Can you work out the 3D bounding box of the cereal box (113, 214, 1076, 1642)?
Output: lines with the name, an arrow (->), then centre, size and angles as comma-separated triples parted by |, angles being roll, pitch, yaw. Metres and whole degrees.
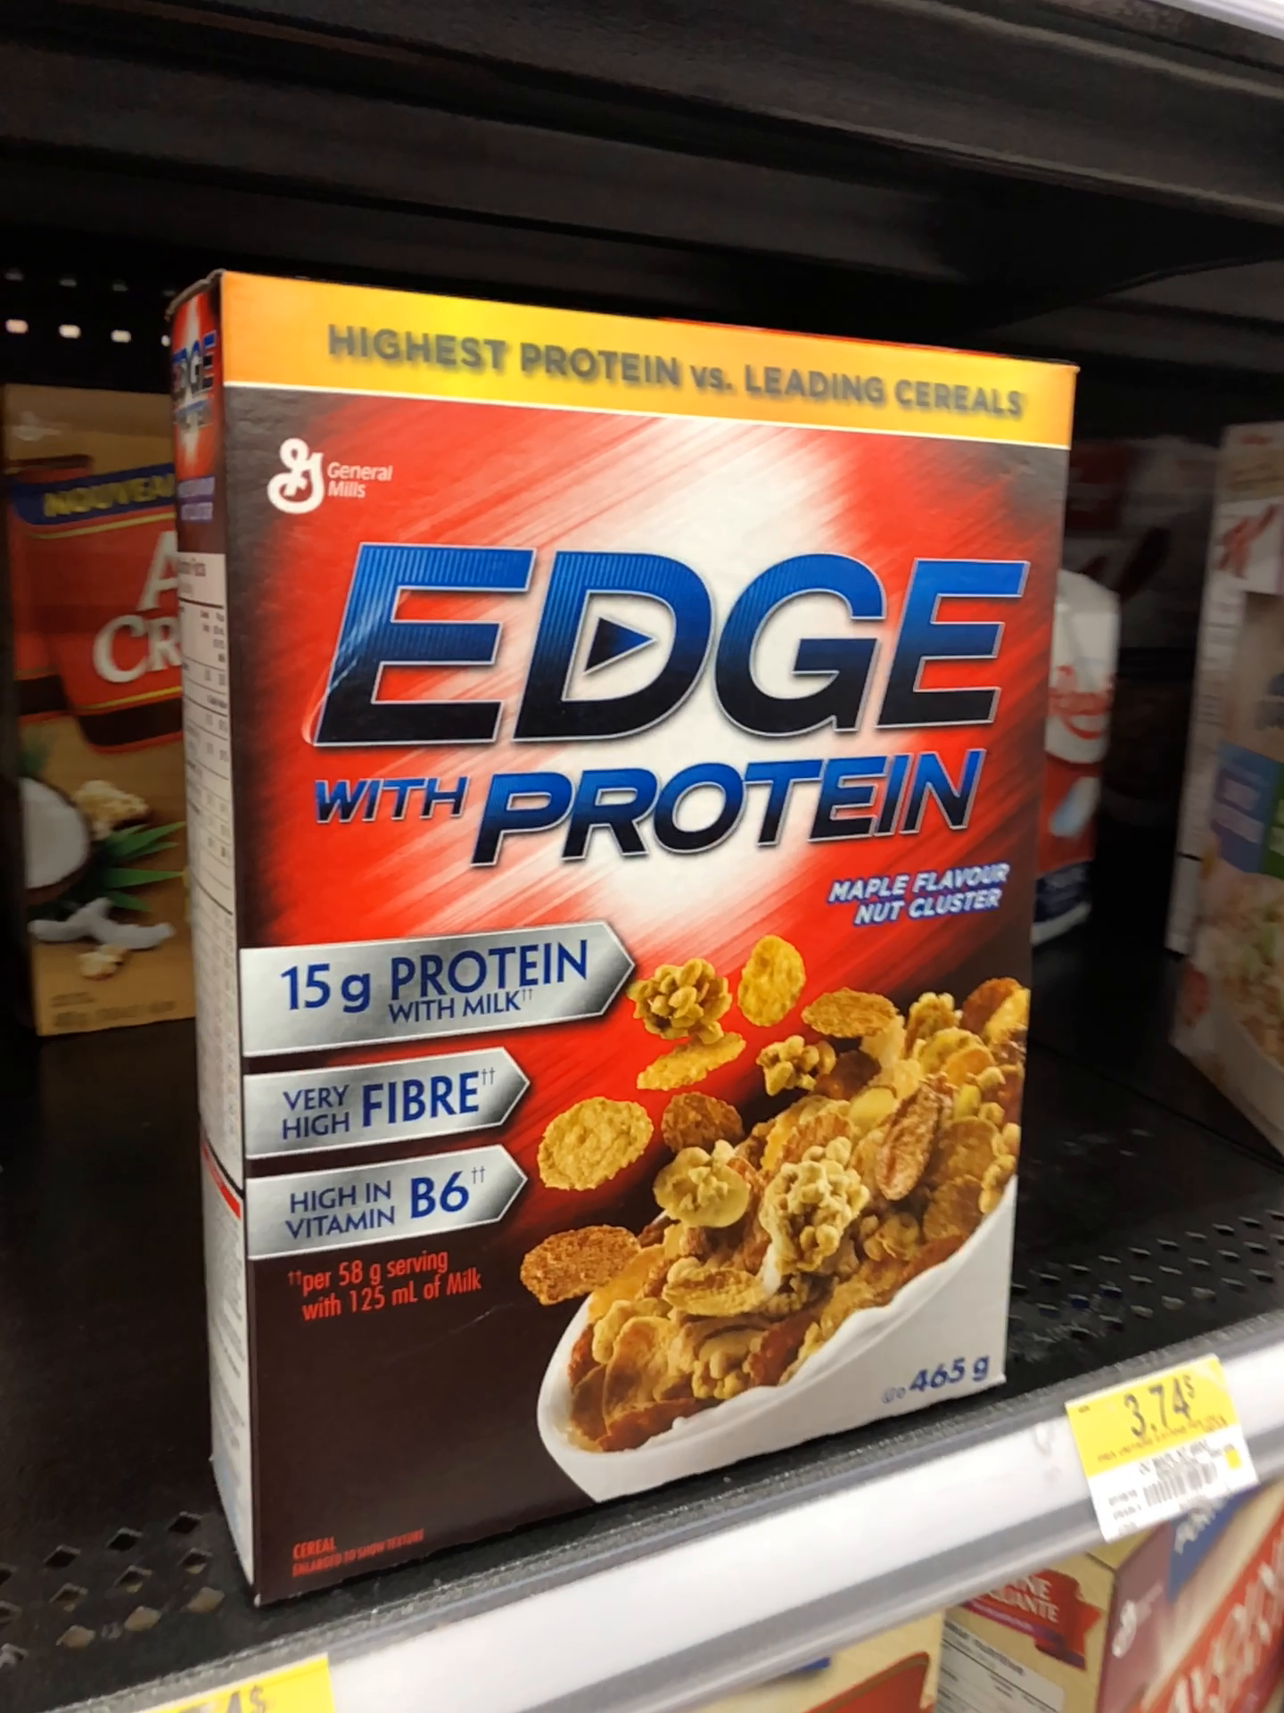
cereal box -> -0.008, 0.013, 0.331 | 0.200, 0.269, 0.060 | -4, 12, -26
